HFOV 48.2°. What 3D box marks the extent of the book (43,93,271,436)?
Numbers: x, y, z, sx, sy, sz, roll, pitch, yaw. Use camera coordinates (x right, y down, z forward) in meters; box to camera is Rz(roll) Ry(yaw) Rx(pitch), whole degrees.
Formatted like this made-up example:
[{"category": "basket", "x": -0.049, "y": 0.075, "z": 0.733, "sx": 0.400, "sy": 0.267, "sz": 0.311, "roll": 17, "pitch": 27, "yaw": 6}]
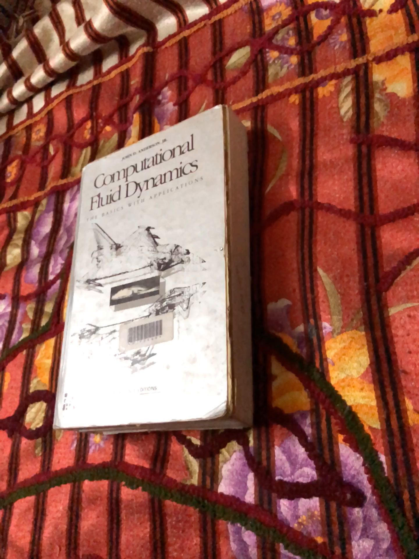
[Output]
[{"category": "book", "x": -0.041, "y": -0.005, "z": 0.355, "sx": 0.159, "sy": 0.046, "sz": 0.229, "roll": -13, "pitch": 65, "yaw": 31}]
